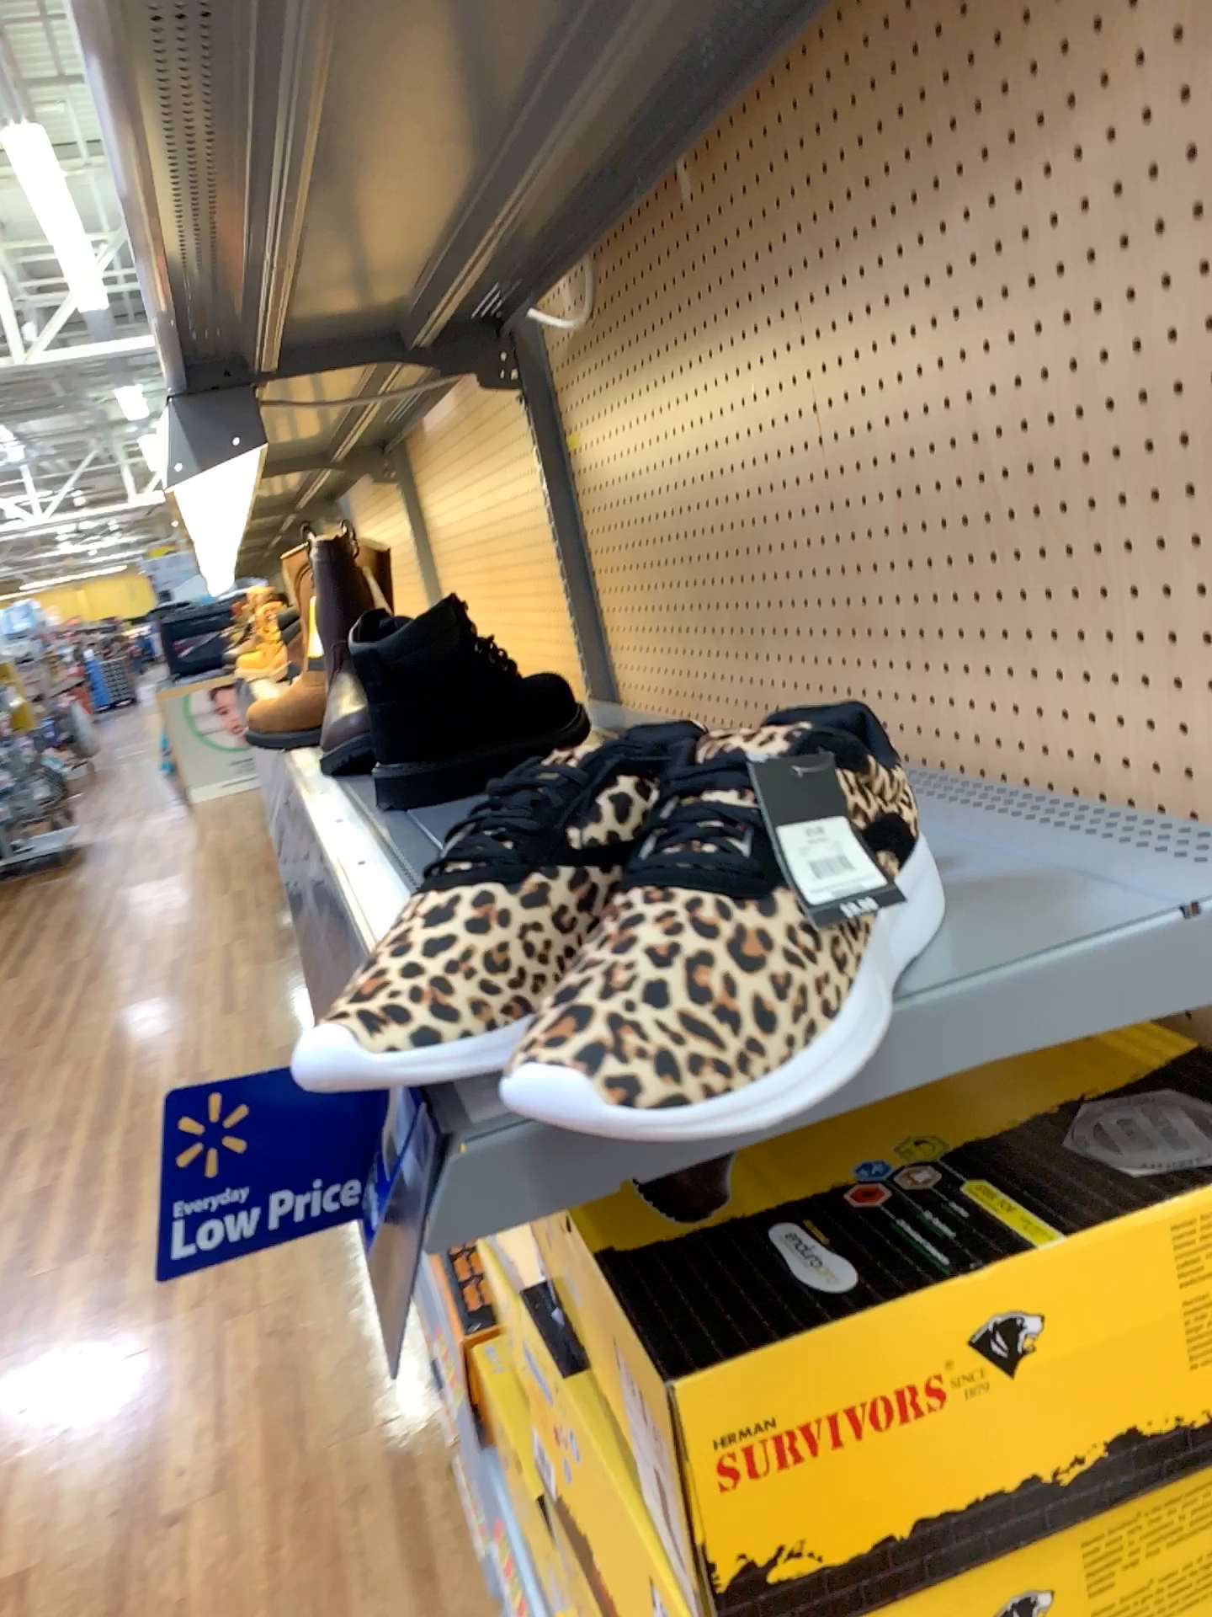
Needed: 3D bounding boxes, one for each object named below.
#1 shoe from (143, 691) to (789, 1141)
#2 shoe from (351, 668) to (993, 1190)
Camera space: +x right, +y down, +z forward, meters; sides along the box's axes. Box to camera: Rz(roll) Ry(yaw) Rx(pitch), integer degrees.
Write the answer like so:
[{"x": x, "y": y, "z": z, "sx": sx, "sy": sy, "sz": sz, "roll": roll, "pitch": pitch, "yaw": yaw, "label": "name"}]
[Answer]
[{"x": -0.043, "y": 0.029, "z": 0.516, "sx": 0.120, "sy": 0.091, "sz": 0.240, "roll": -2, "pitch": 16, "yaw": 40, "label": "shoe"}, {"x": 0.042, "y": 0.025, "z": 0.449, "sx": 0.110, "sy": 0.091, "sz": 0.240, "roll": -4, "pitch": 15, "yaw": 36, "label": "shoe"}]
